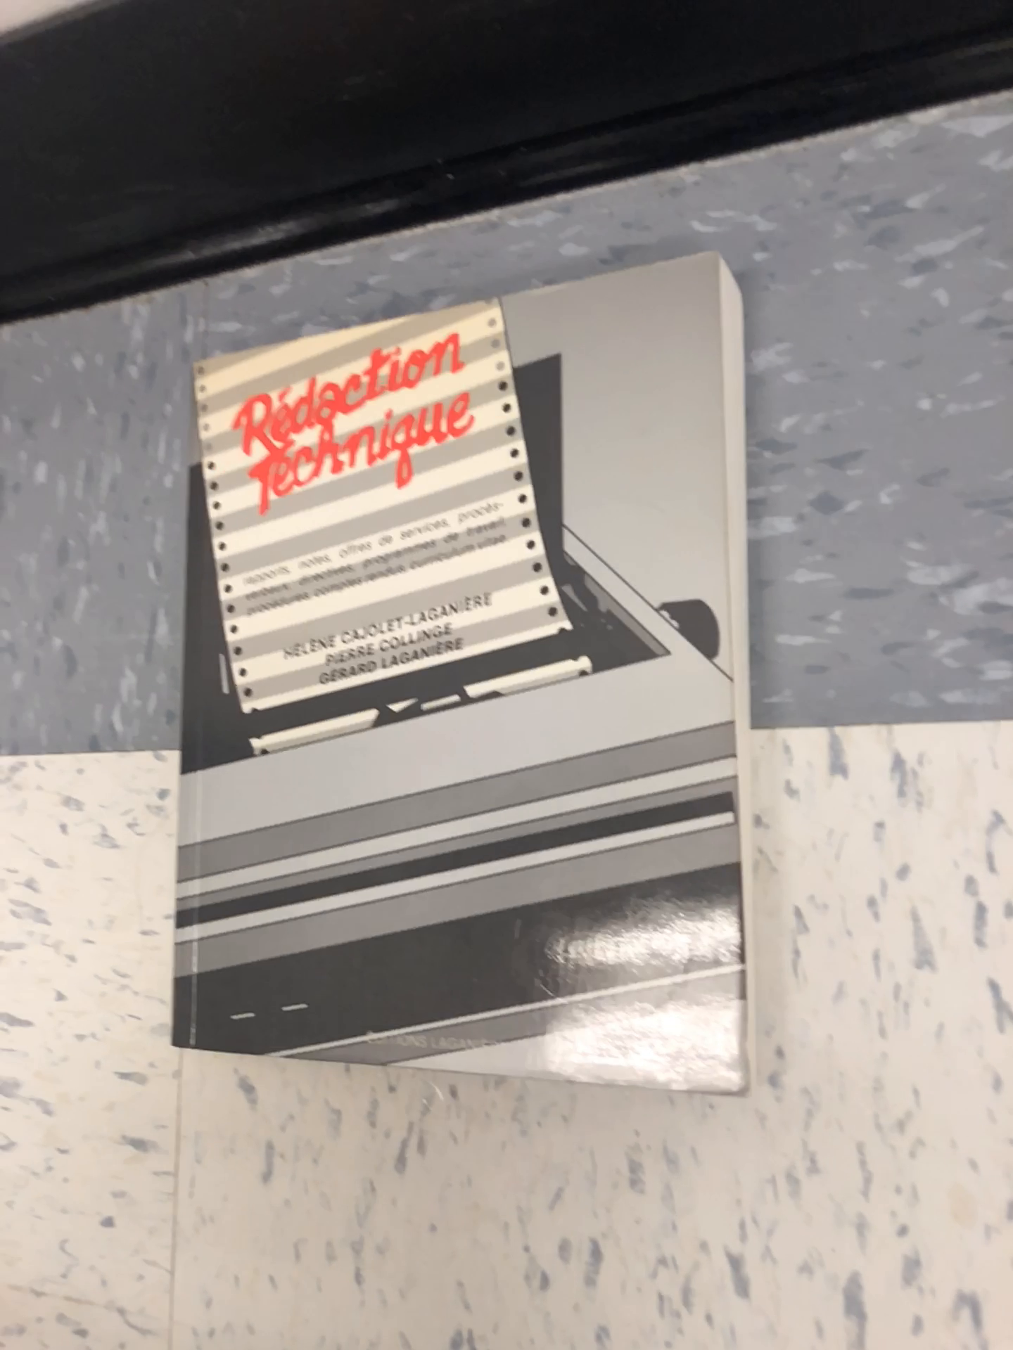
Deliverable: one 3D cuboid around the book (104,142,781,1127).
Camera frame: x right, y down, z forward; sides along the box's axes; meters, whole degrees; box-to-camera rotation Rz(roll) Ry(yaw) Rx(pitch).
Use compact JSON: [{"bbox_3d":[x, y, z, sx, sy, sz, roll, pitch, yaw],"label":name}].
[{"bbox_3d":[-0.022,-0.008,0.297,0.170,0.040,0.220,-4,81,23],"label":"book"}]
